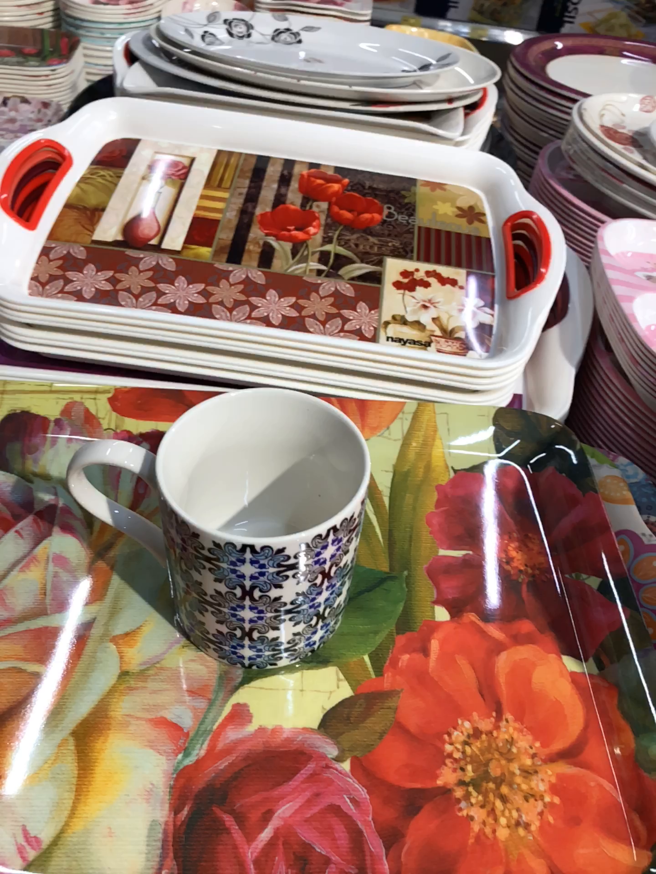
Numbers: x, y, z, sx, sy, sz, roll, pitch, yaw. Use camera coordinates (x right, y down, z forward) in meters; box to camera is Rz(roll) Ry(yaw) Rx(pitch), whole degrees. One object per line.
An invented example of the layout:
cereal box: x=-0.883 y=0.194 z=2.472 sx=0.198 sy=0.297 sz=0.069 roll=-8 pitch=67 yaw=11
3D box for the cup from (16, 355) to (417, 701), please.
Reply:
cup: x=-0.040 y=0.039 z=0.304 sx=0.130 sy=0.099 sz=0.091 roll=5 pitch=42 yaw=-4
